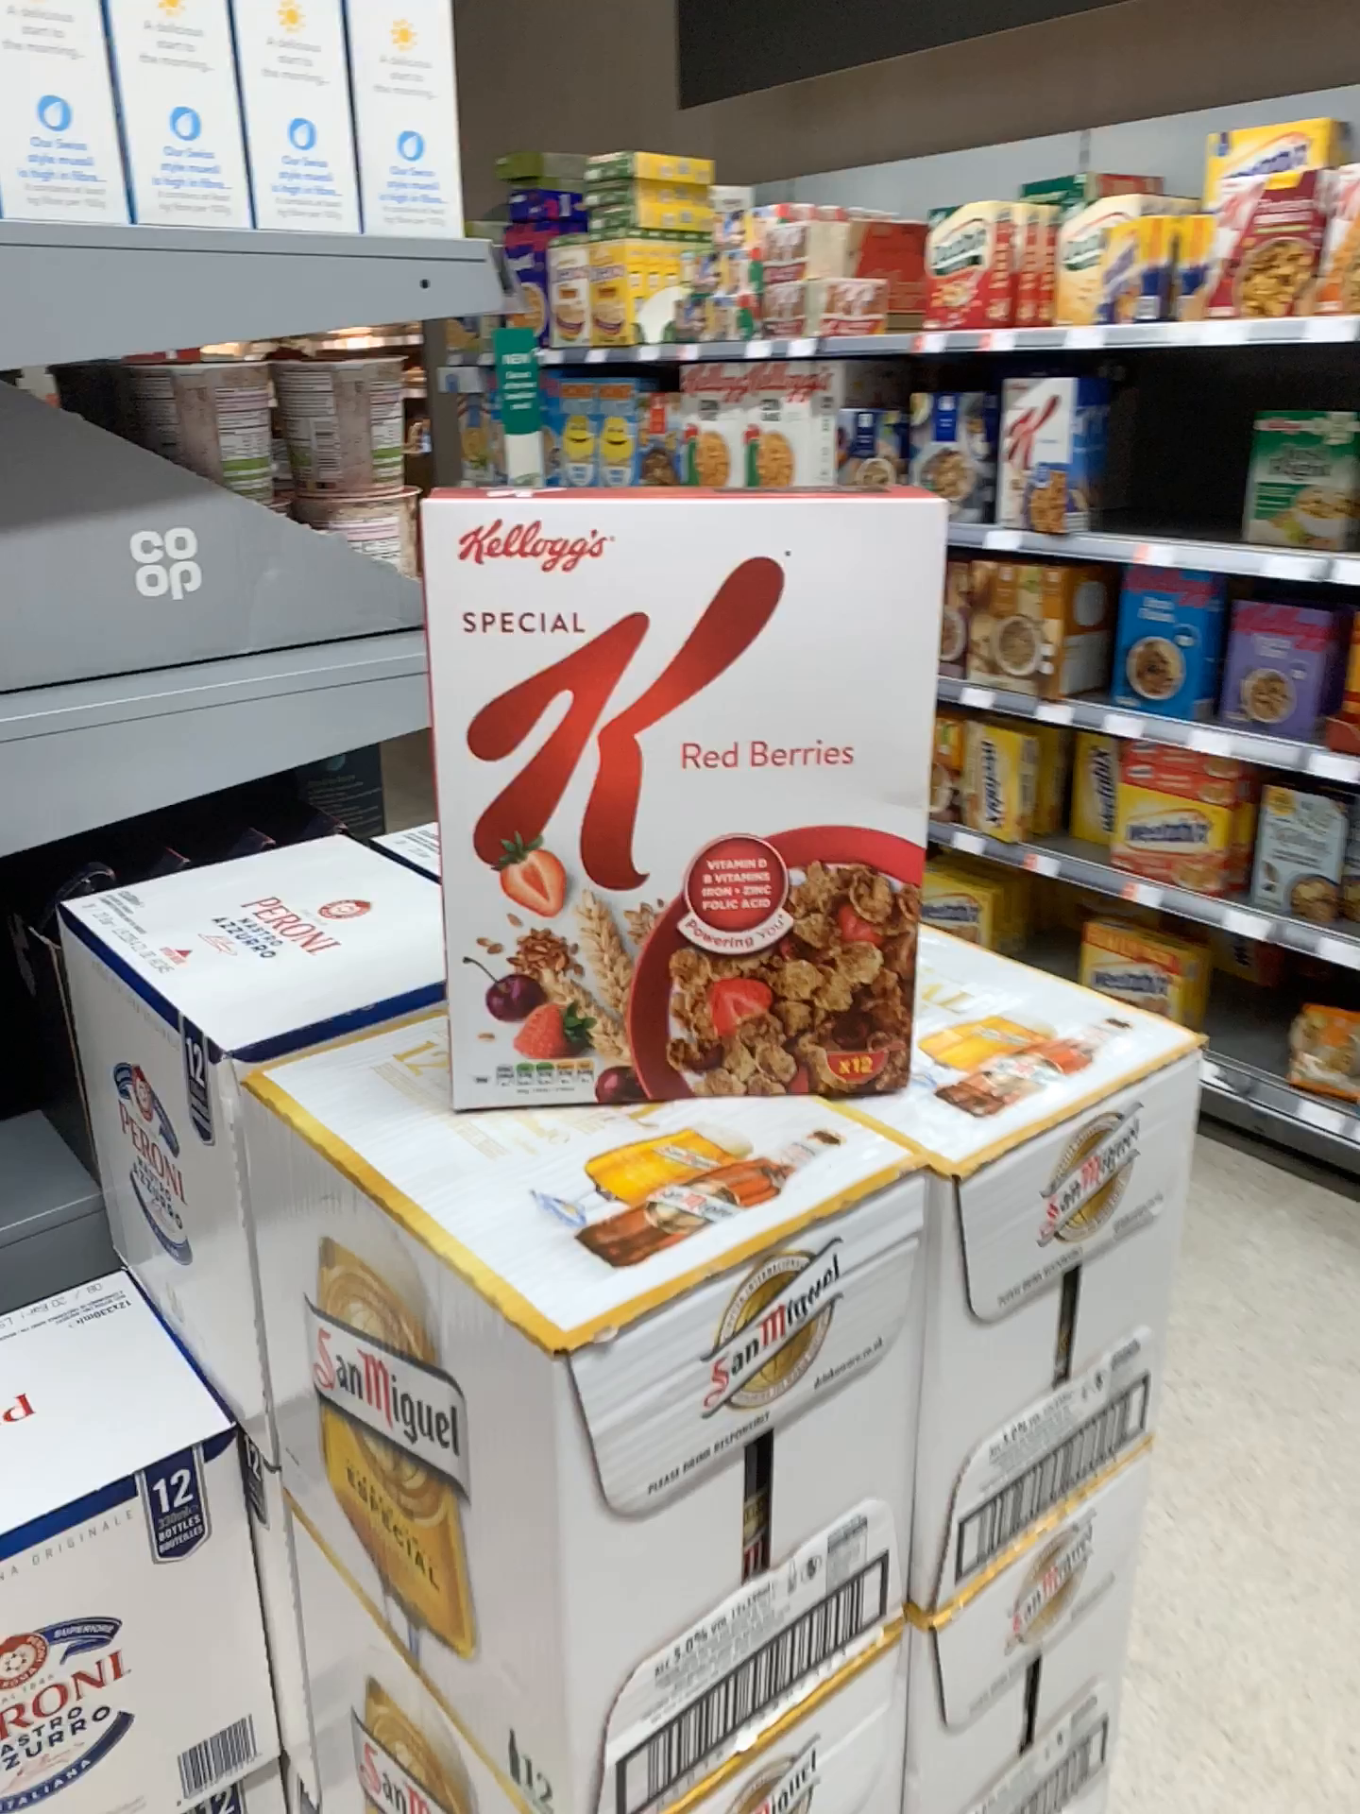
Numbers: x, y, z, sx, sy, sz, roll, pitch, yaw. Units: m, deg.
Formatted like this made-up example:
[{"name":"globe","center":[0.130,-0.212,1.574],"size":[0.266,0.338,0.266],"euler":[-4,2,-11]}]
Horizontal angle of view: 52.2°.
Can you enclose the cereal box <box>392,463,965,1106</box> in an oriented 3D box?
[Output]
[{"name":"cereal box","center":[0.000,-0.049,0.554],"size":[0.200,0.238,0.070],"euler":[-2,18,-3]}]
